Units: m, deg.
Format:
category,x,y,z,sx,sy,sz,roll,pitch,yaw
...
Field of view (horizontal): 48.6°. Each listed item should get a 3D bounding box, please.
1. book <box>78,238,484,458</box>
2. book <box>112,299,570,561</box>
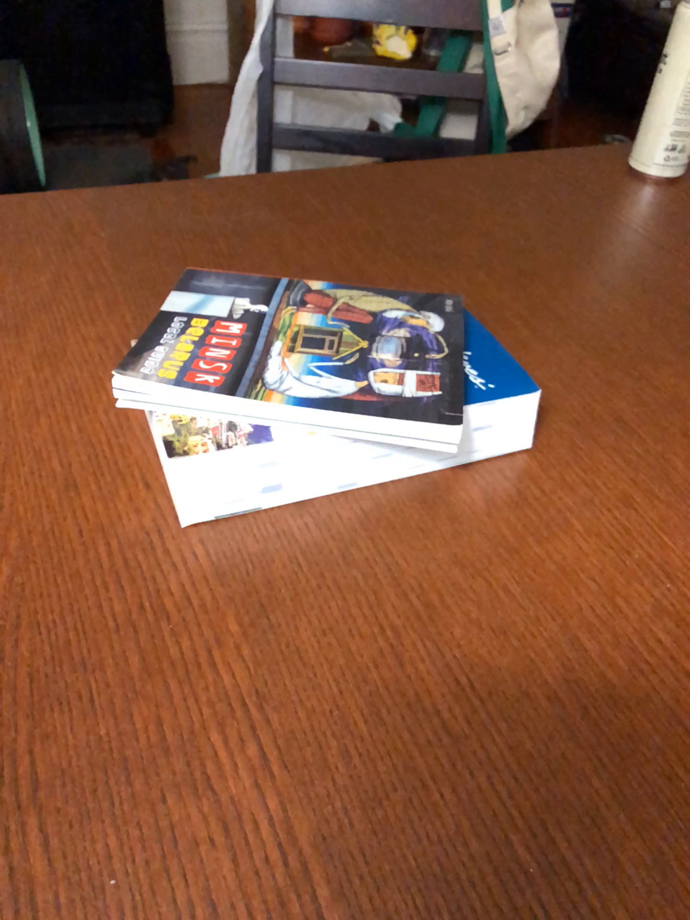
category,x,y,z,sx,sy,sz,roll,pitch,yaw
book,-0.023,-0.069,0.417,0.190,0.020,0.151,7,41,2
book,-0.007,-0.028,0.431,0.220,0.040,0.131,-11,44,-17
